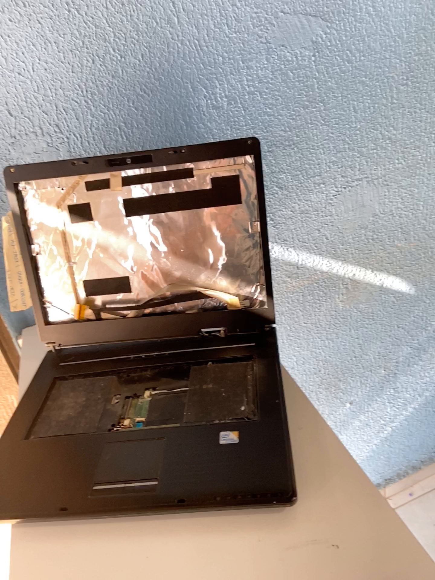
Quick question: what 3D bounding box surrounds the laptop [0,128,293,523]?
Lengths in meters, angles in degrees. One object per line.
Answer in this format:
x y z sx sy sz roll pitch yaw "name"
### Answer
-0.111 0.015 0.528 0.352 0.261 0.352 -6 31 7 "laptop"
